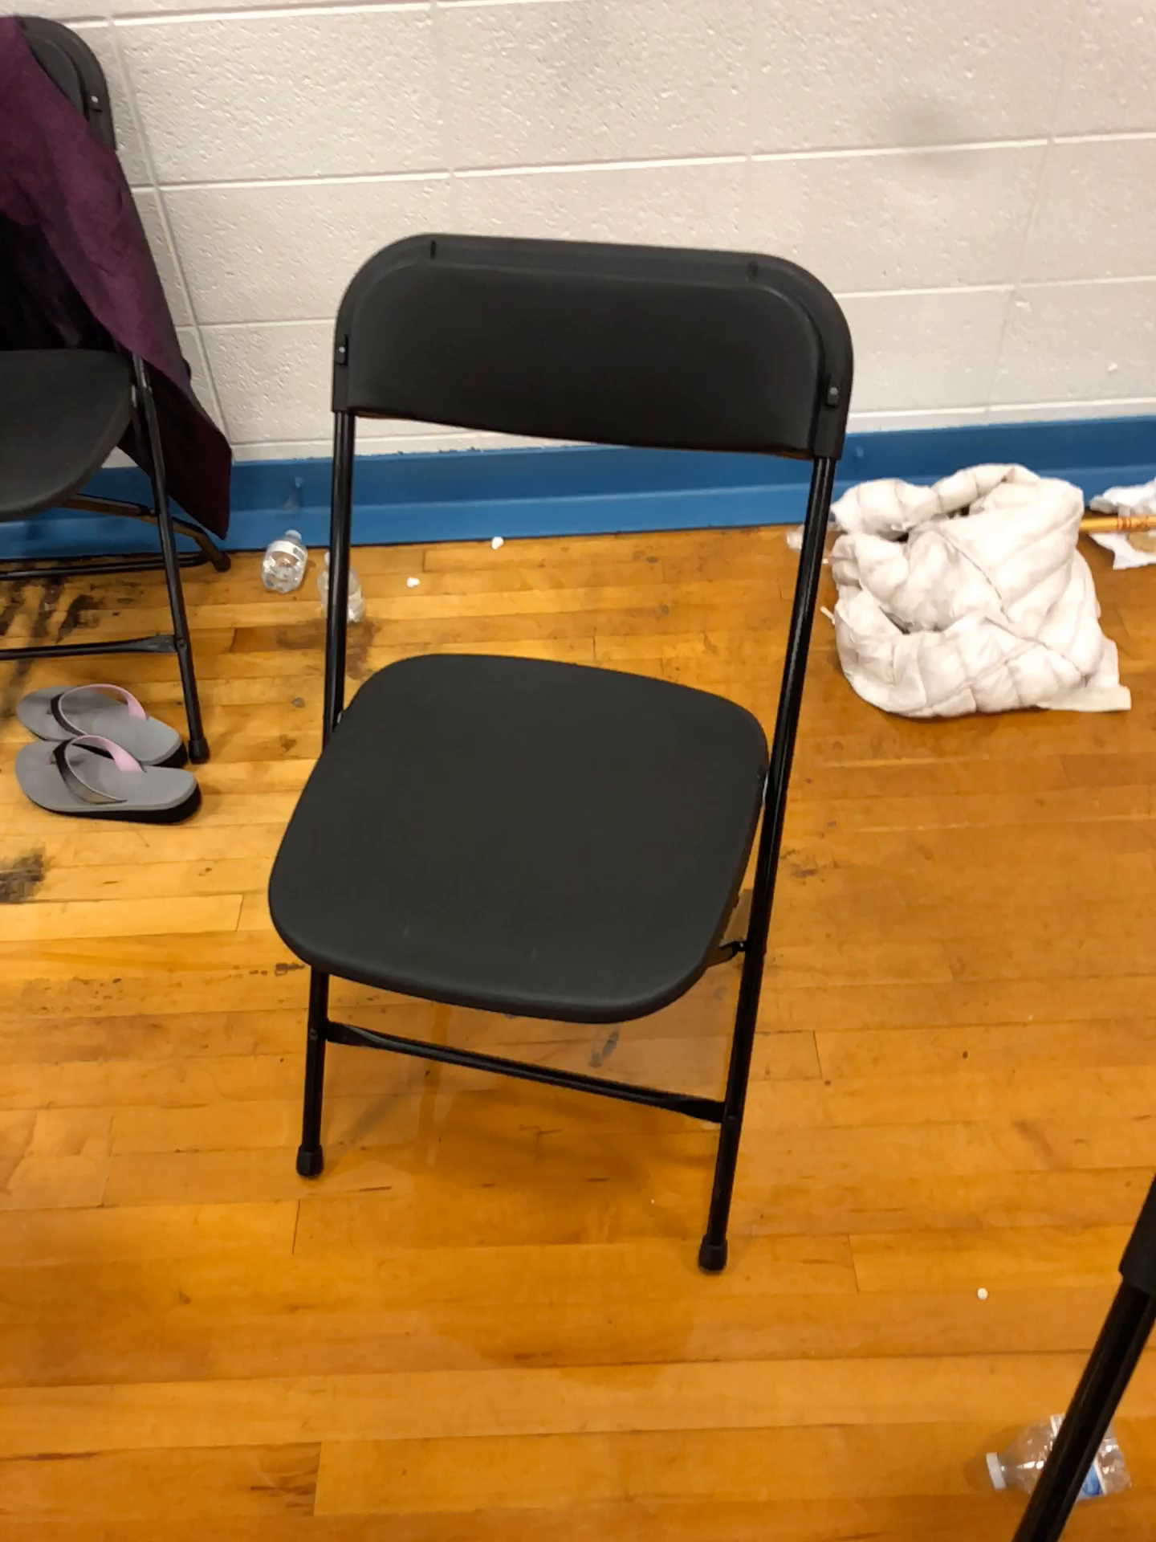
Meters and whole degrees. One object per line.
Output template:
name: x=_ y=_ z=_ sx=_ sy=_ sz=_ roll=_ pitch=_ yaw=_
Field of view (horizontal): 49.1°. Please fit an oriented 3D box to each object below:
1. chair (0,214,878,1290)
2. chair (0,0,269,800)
chair: x=-0.041 y=-0.003 z=1.104 sx=0.471 sy=0.720 sz=0.526 roll=8 pitch=46 yaw=12
chair: x=-0.750 y=-0.447 z=1.581 sx=0.481 sy=0.790 sz=0.546 roll=-3 pitch=45 yaw=1
